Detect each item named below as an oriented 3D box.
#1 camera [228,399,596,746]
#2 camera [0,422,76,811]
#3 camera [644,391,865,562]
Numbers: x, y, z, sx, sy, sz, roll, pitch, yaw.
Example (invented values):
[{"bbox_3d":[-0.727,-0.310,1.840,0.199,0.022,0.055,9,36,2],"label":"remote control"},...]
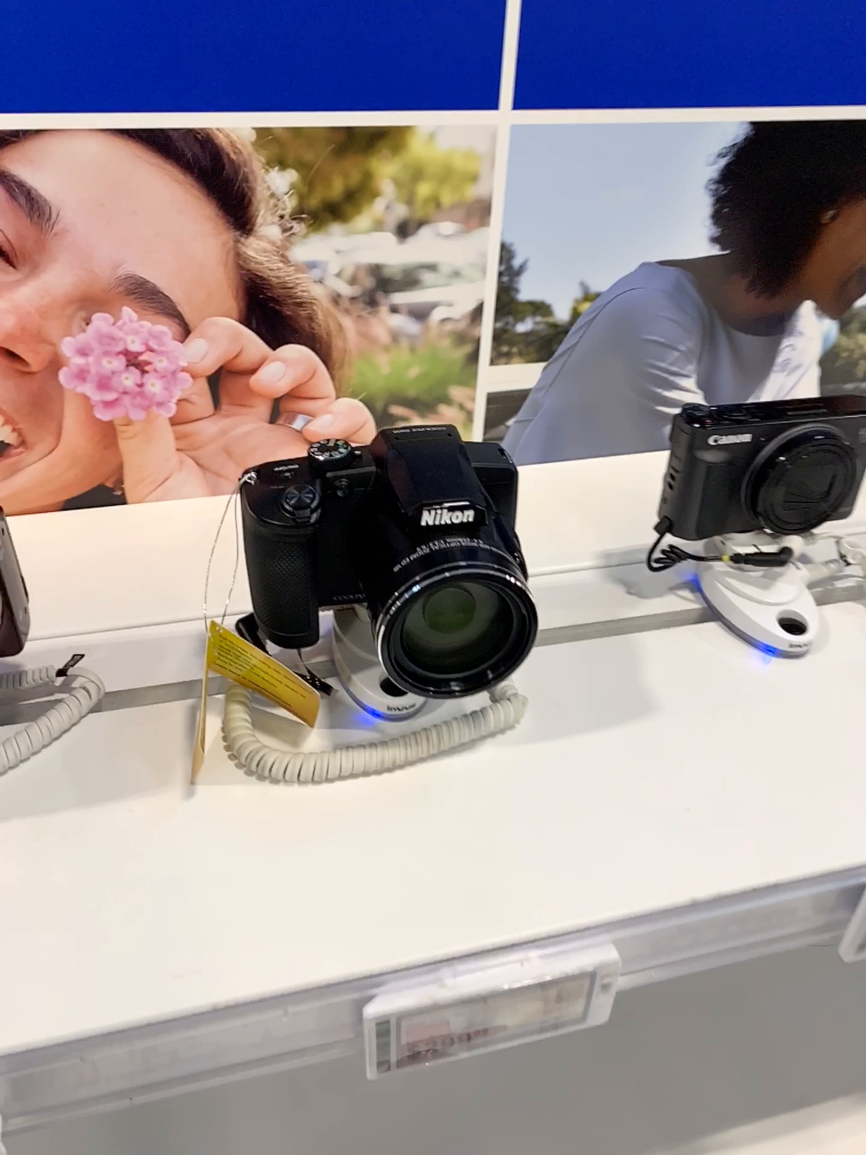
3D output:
[{"bbox_3d":[-0.015,-0.009,0.363,0.120,0.079,0.111,-7,36,-11],"label":"camera"},{"bbox_3d":[-0.215,0.007,0.334,0.130,0.079,0.111,-7,36,-11],"label":"camera"},{"bbox_3d":[0.179,-0.053,0.460,0.120,0.060,0.050,-7,36,-11],"label":"camera"}]
